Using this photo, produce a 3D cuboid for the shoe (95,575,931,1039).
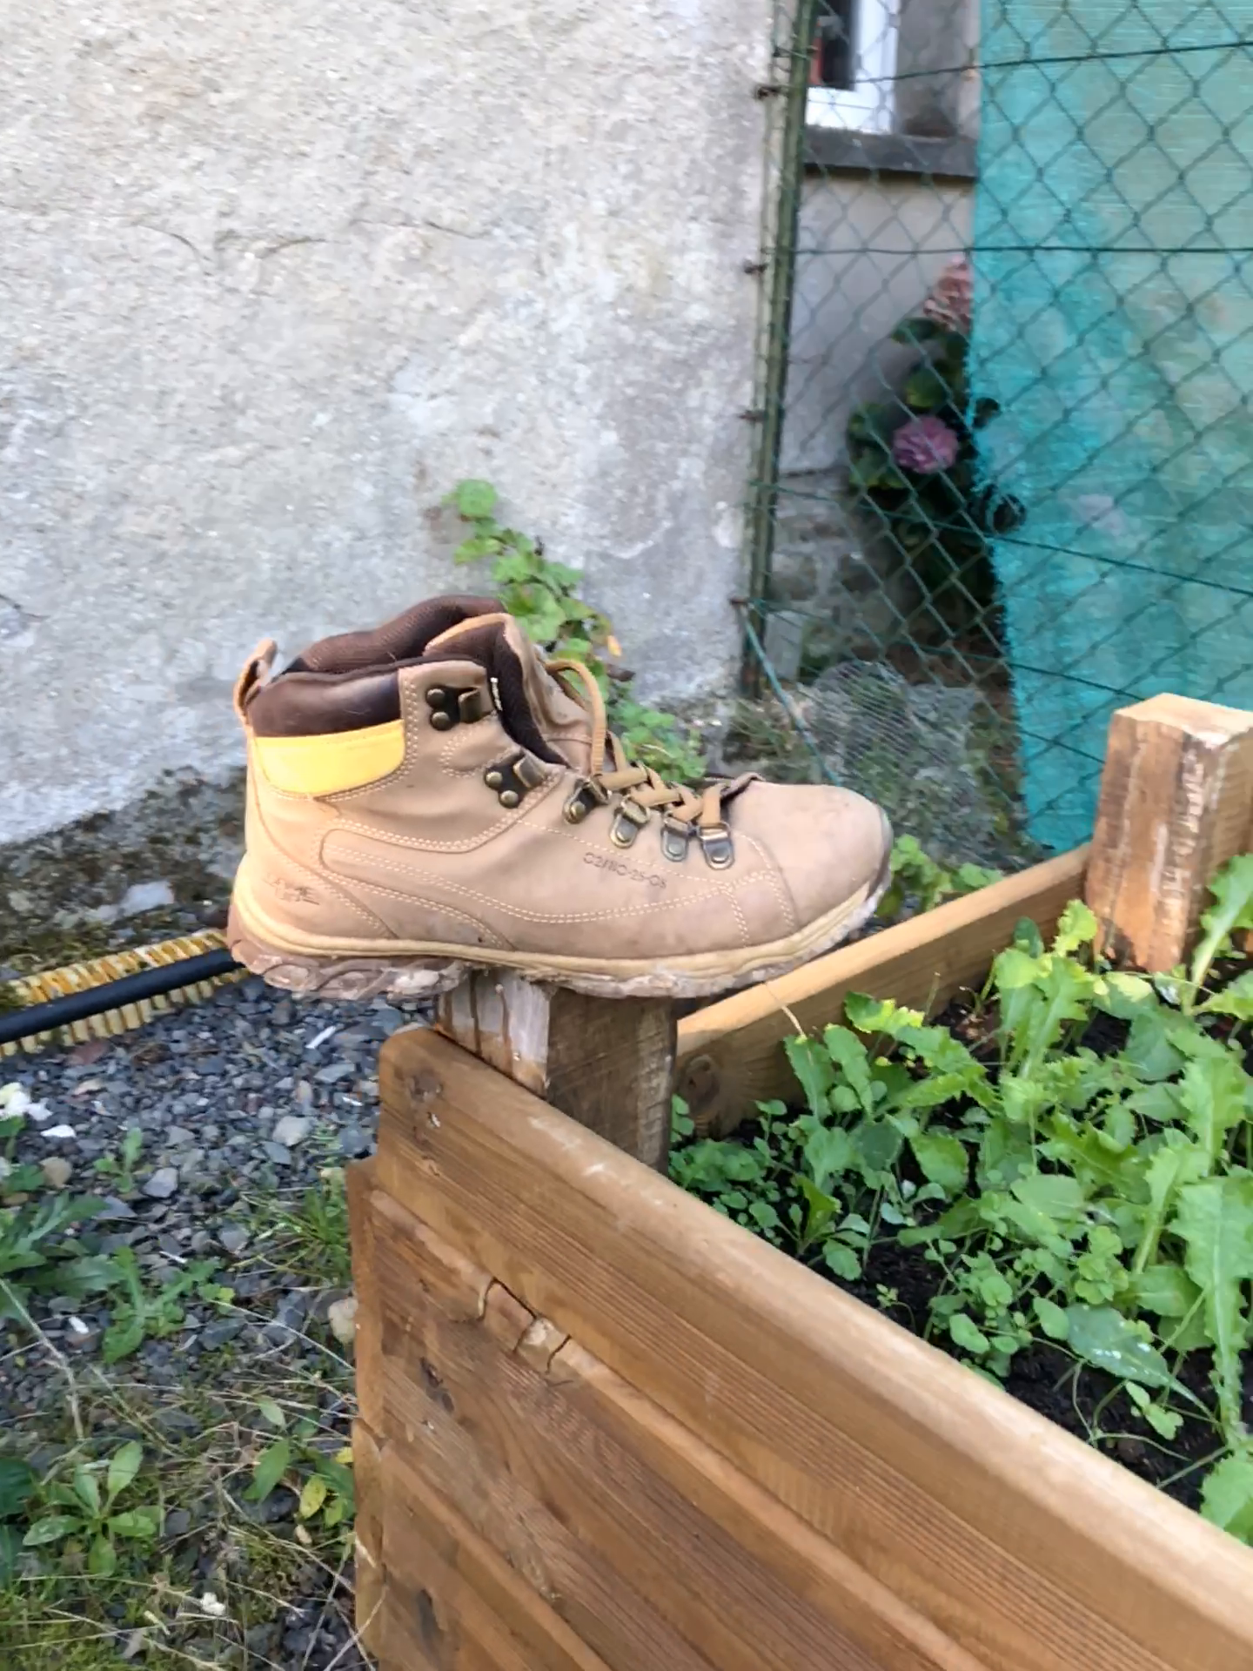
[{"bbox_3d":[-0.039,-0.016,0.535,0.280,0.149,0.100,-1,22,-4],"label":"shoe"}]
